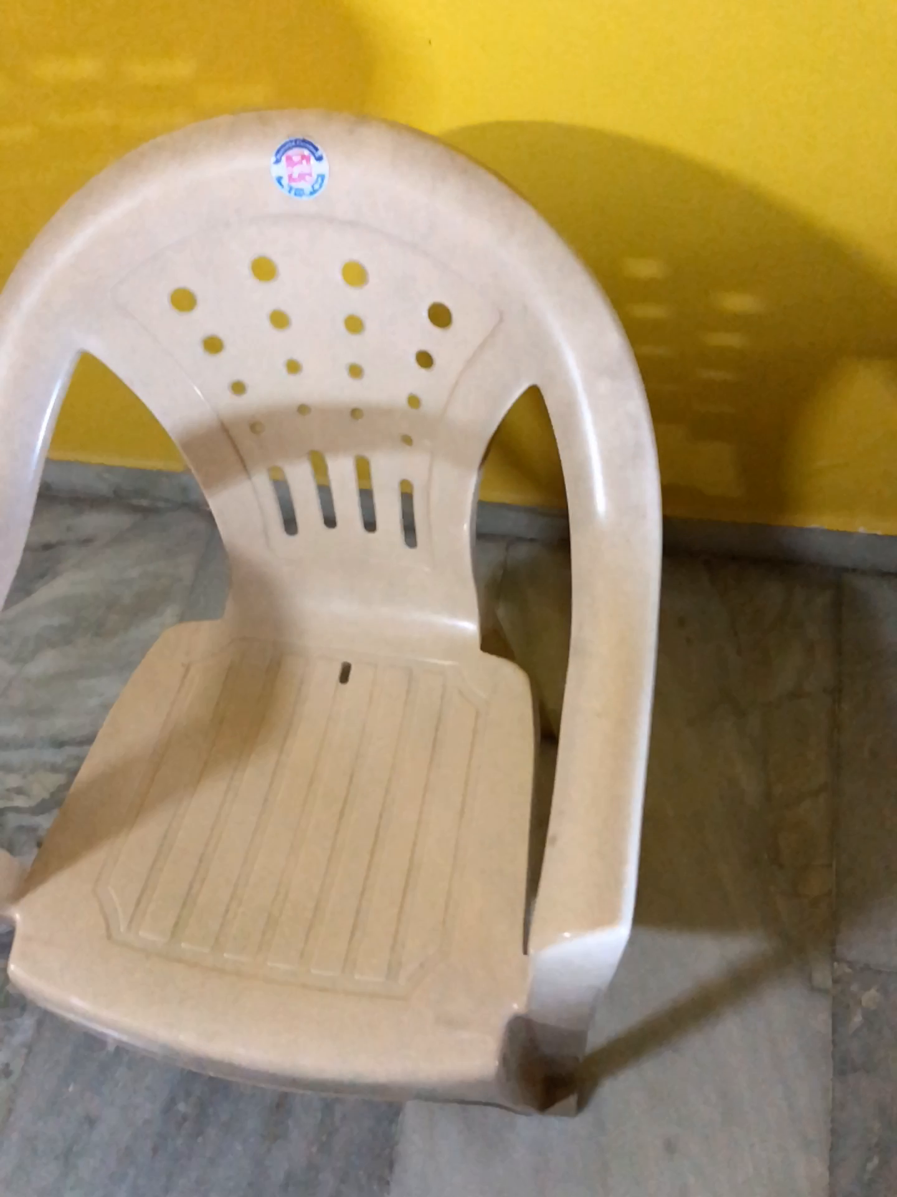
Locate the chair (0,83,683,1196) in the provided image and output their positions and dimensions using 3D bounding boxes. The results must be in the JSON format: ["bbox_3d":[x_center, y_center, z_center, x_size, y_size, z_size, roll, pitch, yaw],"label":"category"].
[{"bbox_3d":[-0.126,0.109,0.835,0.530,0.787,0.562,6,63,11],"label":"chair"}]
